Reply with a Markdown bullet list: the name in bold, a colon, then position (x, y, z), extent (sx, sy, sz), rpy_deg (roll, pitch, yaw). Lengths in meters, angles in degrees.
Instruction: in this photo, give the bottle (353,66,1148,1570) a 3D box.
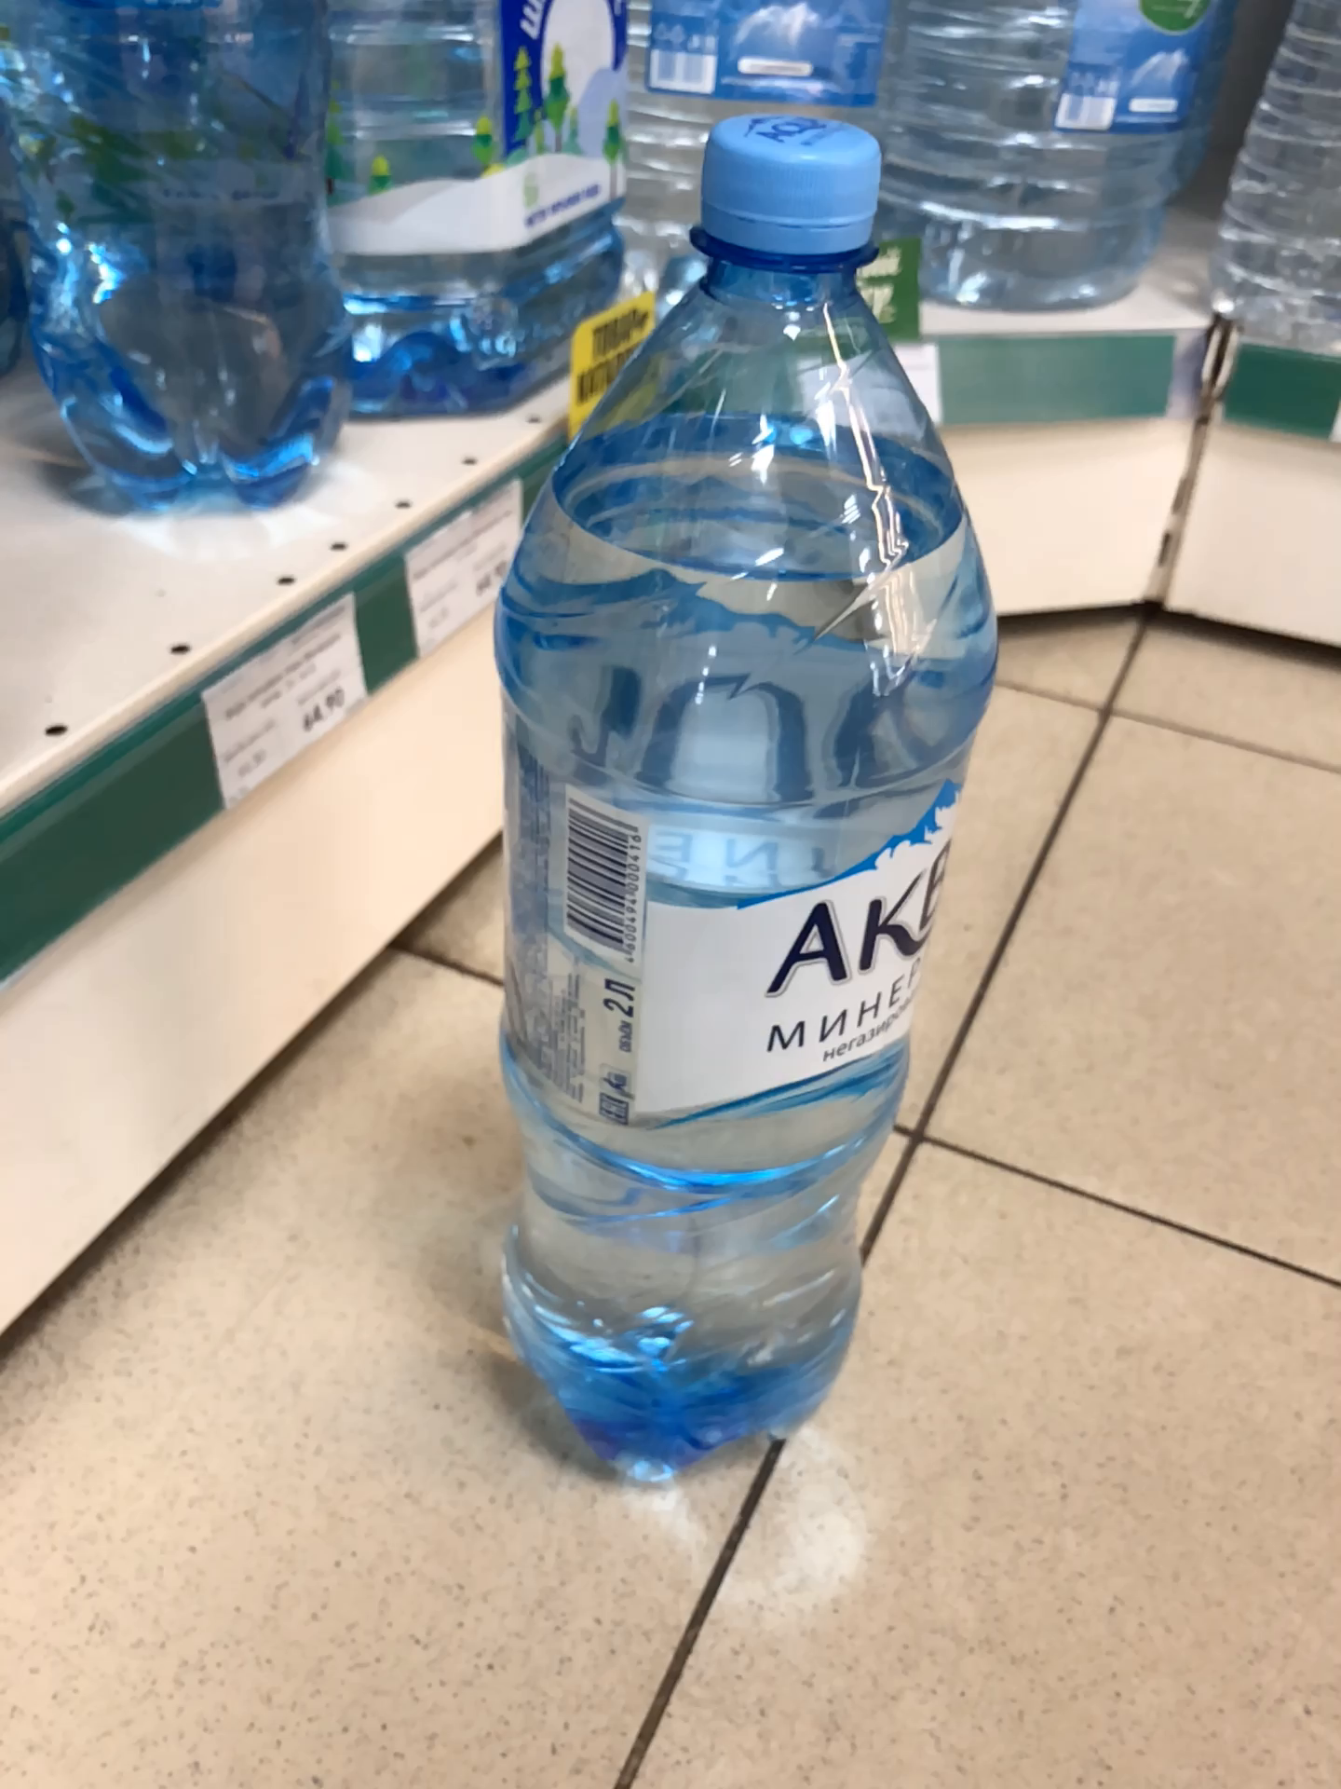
- **bottle**: position (0.011, 0.005, 0.344), extent (0.088, 0.322, 0.106), rpy_deg (24, 42, 25)
